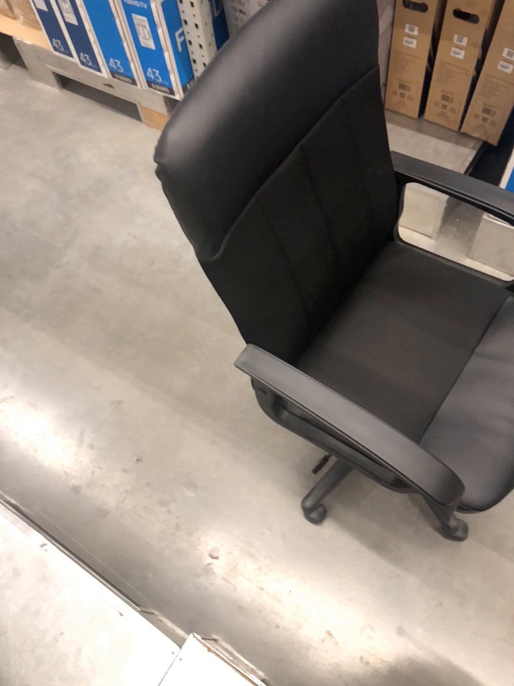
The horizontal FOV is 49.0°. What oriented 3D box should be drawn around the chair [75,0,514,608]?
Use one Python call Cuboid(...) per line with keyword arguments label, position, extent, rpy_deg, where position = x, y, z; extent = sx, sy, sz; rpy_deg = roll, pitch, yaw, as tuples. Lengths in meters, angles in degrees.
Cuboid(label="chair", position=(0.302, -0.008, 1.108), extent=(0.631, 1.125, 0.652), rpy_deg=(27, 68, 20))
